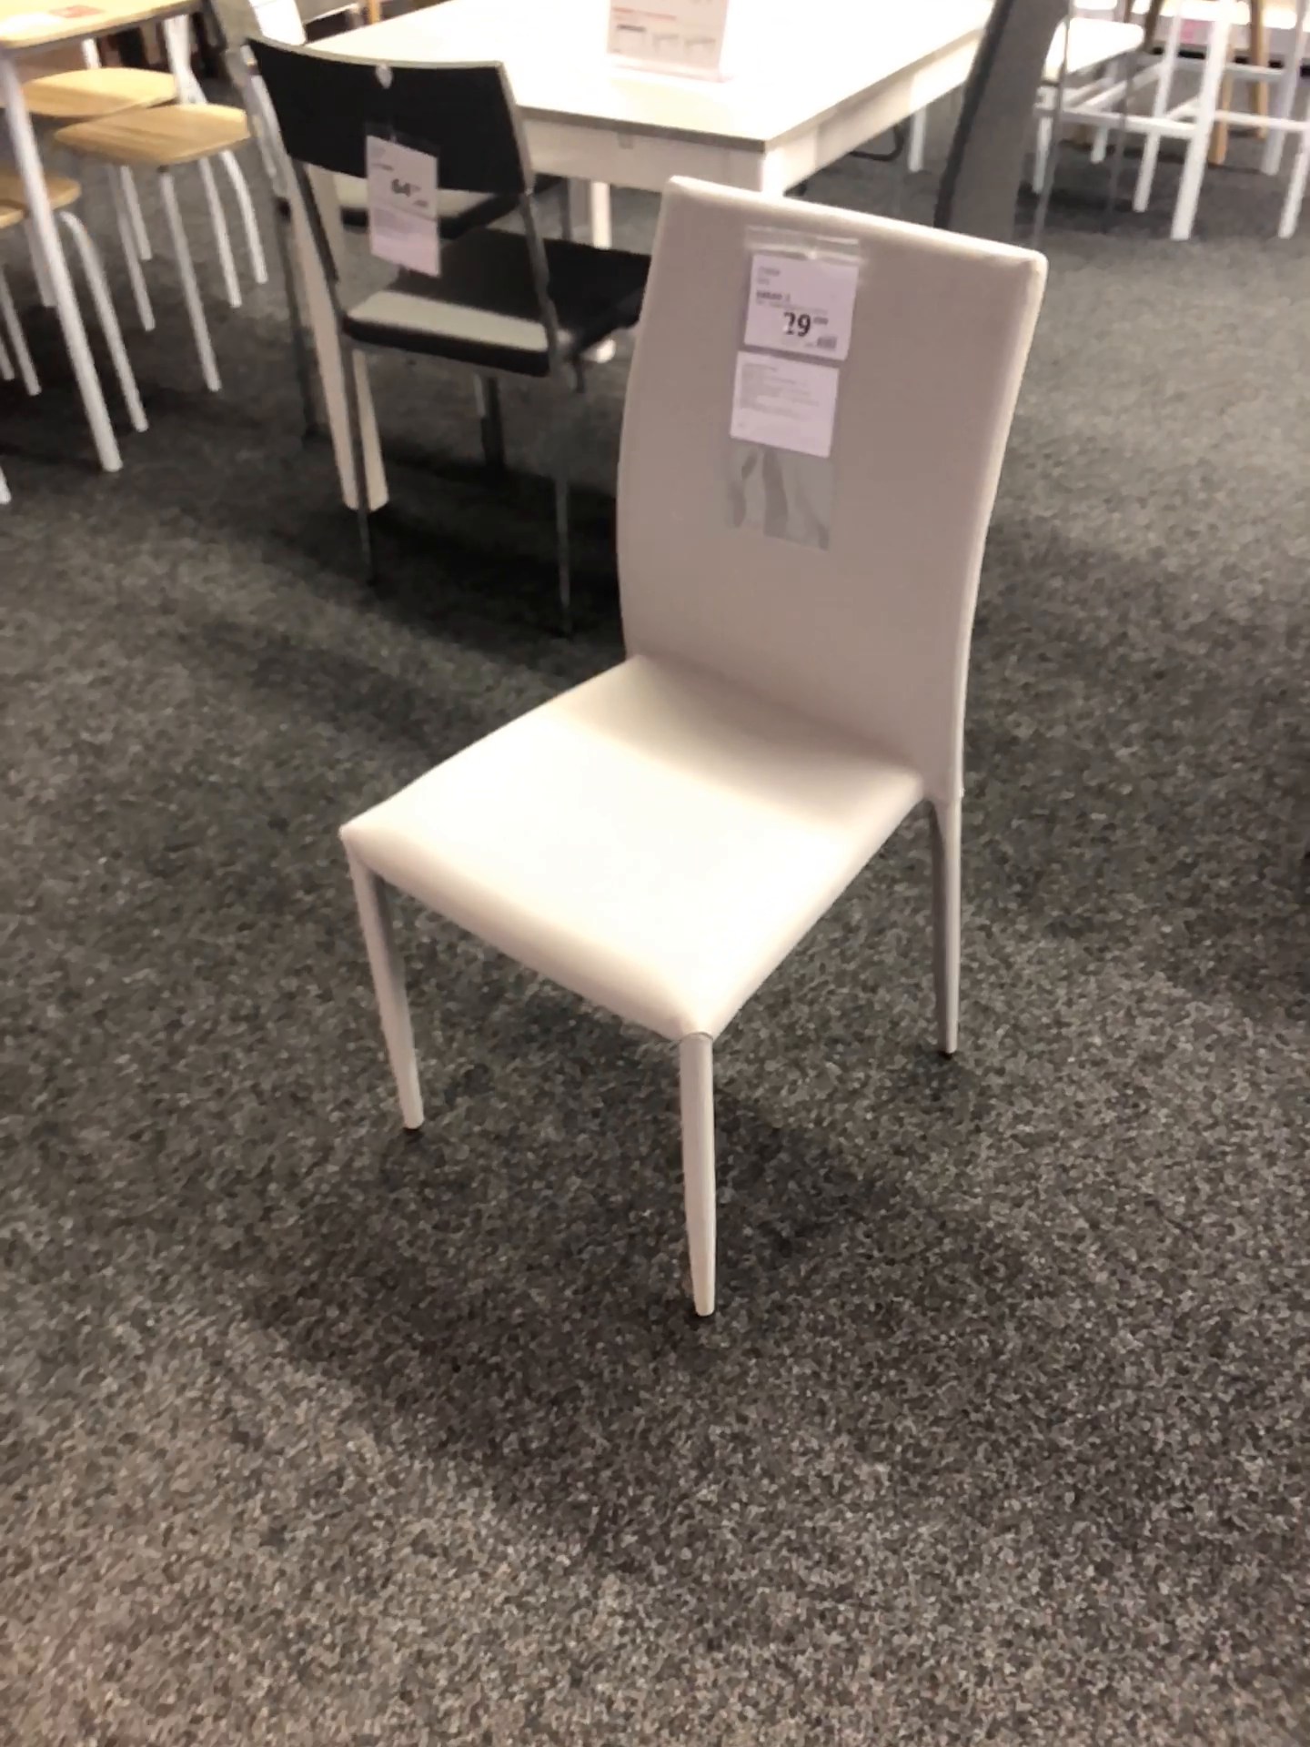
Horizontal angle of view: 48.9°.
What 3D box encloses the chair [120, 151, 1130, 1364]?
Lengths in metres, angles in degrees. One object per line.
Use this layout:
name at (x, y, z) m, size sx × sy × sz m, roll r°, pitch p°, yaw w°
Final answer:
chair at (0.004, -0.111, 1.301) m, size 0.500 × 0.815 × 0.543 m, roll 25°, pitch 47°, yaw 28°
